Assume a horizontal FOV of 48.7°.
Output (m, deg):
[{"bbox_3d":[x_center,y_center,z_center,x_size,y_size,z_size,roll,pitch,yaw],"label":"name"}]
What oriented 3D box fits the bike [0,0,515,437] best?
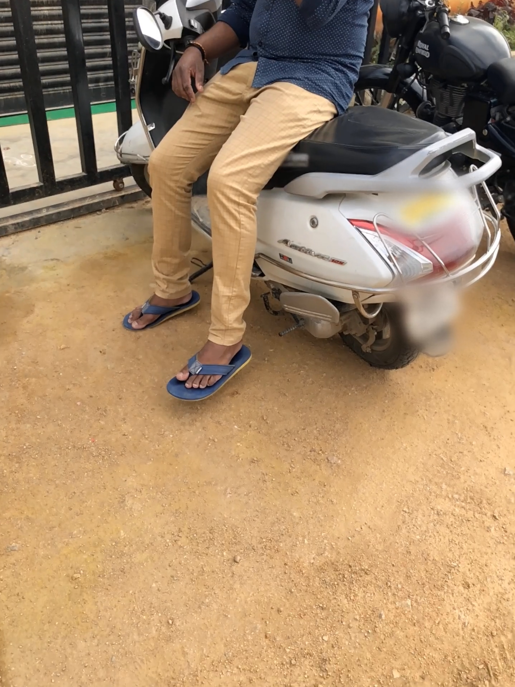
[{"bbox_3d":[-0.153,-0.687,1.907,0.653,1.069,1.646,-24,45,-34],"label":"bike"}]
